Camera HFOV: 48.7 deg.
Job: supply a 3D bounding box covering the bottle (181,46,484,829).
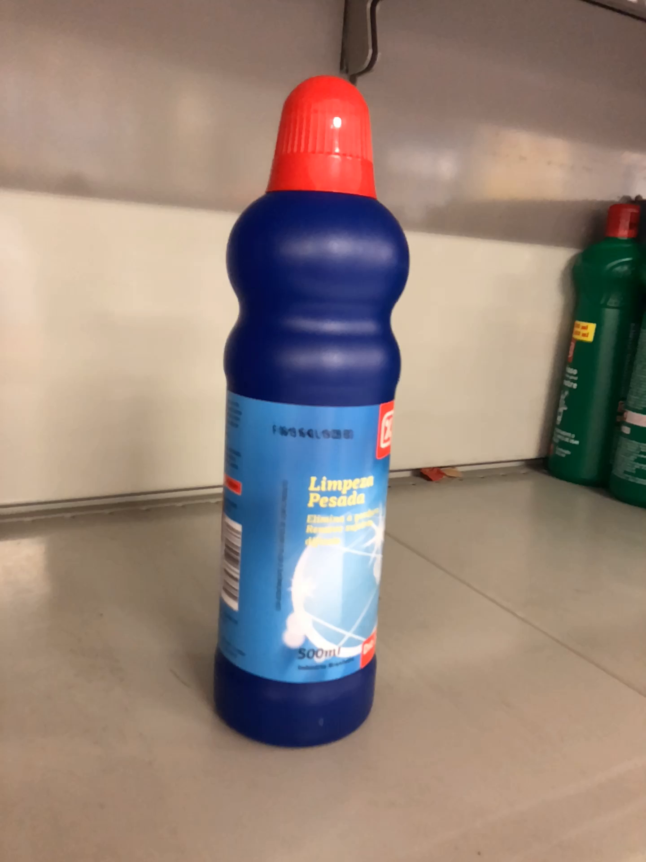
[{"bbox_3d":[-0.004,0.005,0.259,0.070,0.239,0.070,3,13,-1],"label":"bottle"}]
